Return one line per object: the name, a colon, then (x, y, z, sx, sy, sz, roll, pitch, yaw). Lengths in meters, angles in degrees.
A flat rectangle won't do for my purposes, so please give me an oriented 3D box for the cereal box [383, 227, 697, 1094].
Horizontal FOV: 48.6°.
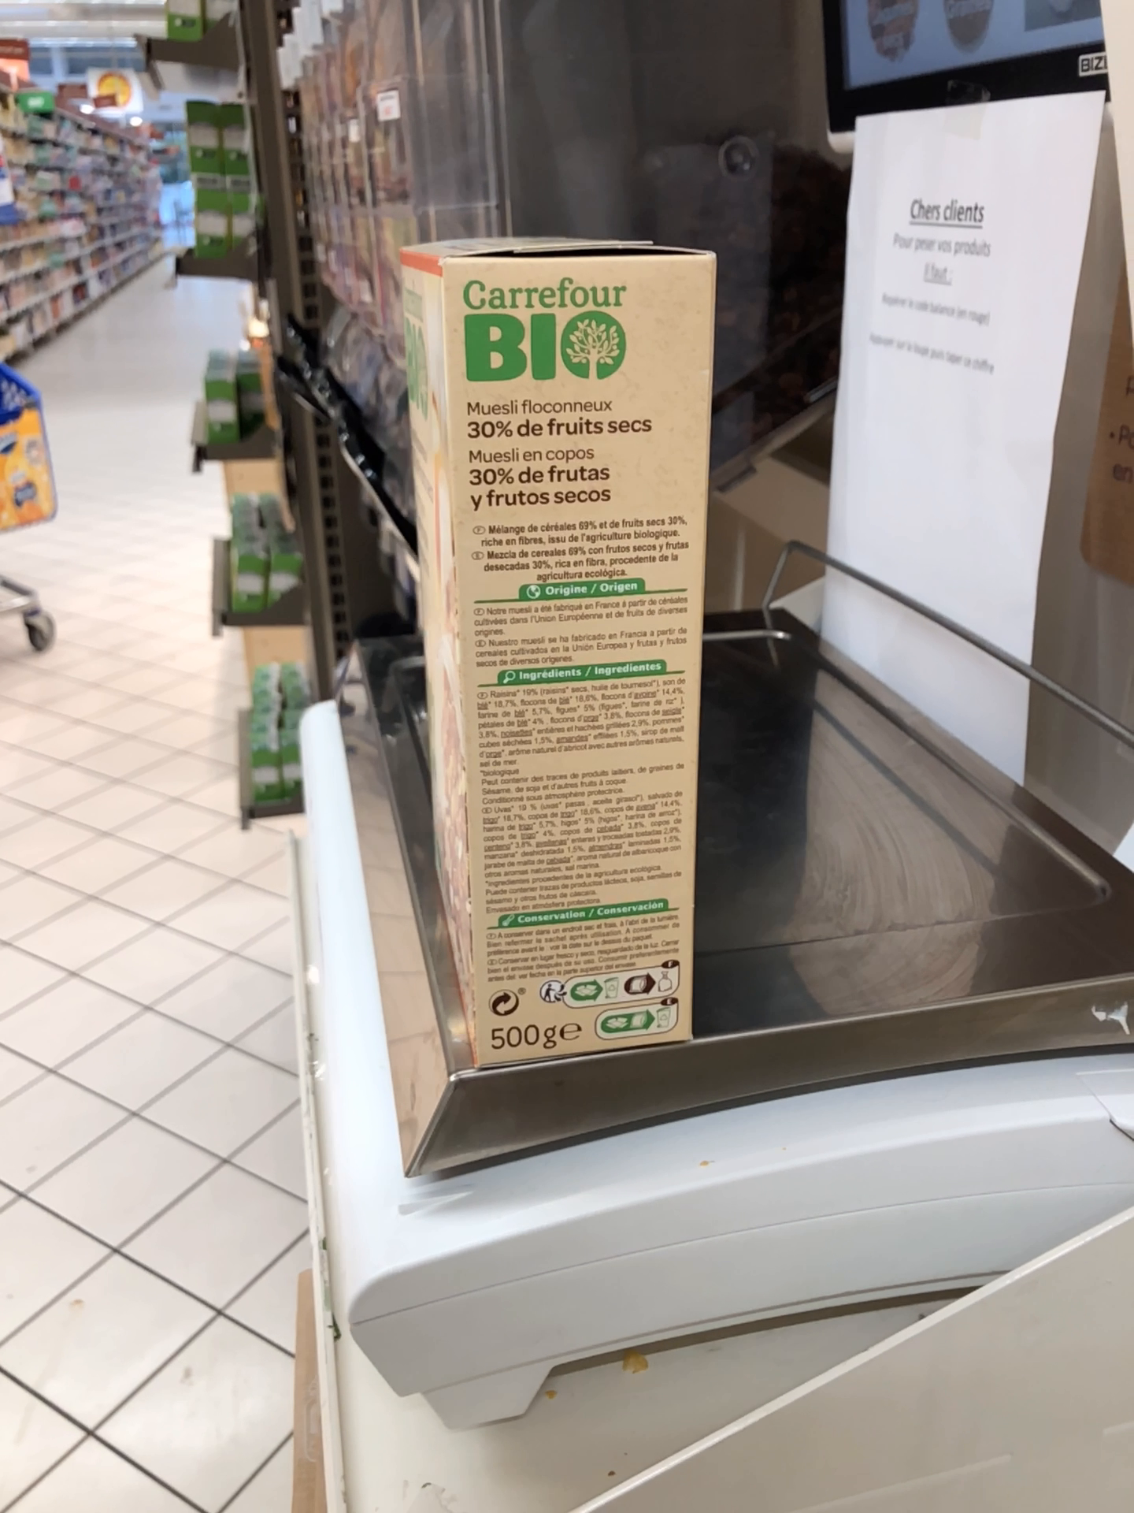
cereal box: (-0.010, -0.035, 0.356, 0.060, 0.209, 0.131, -5, 22, -8)
